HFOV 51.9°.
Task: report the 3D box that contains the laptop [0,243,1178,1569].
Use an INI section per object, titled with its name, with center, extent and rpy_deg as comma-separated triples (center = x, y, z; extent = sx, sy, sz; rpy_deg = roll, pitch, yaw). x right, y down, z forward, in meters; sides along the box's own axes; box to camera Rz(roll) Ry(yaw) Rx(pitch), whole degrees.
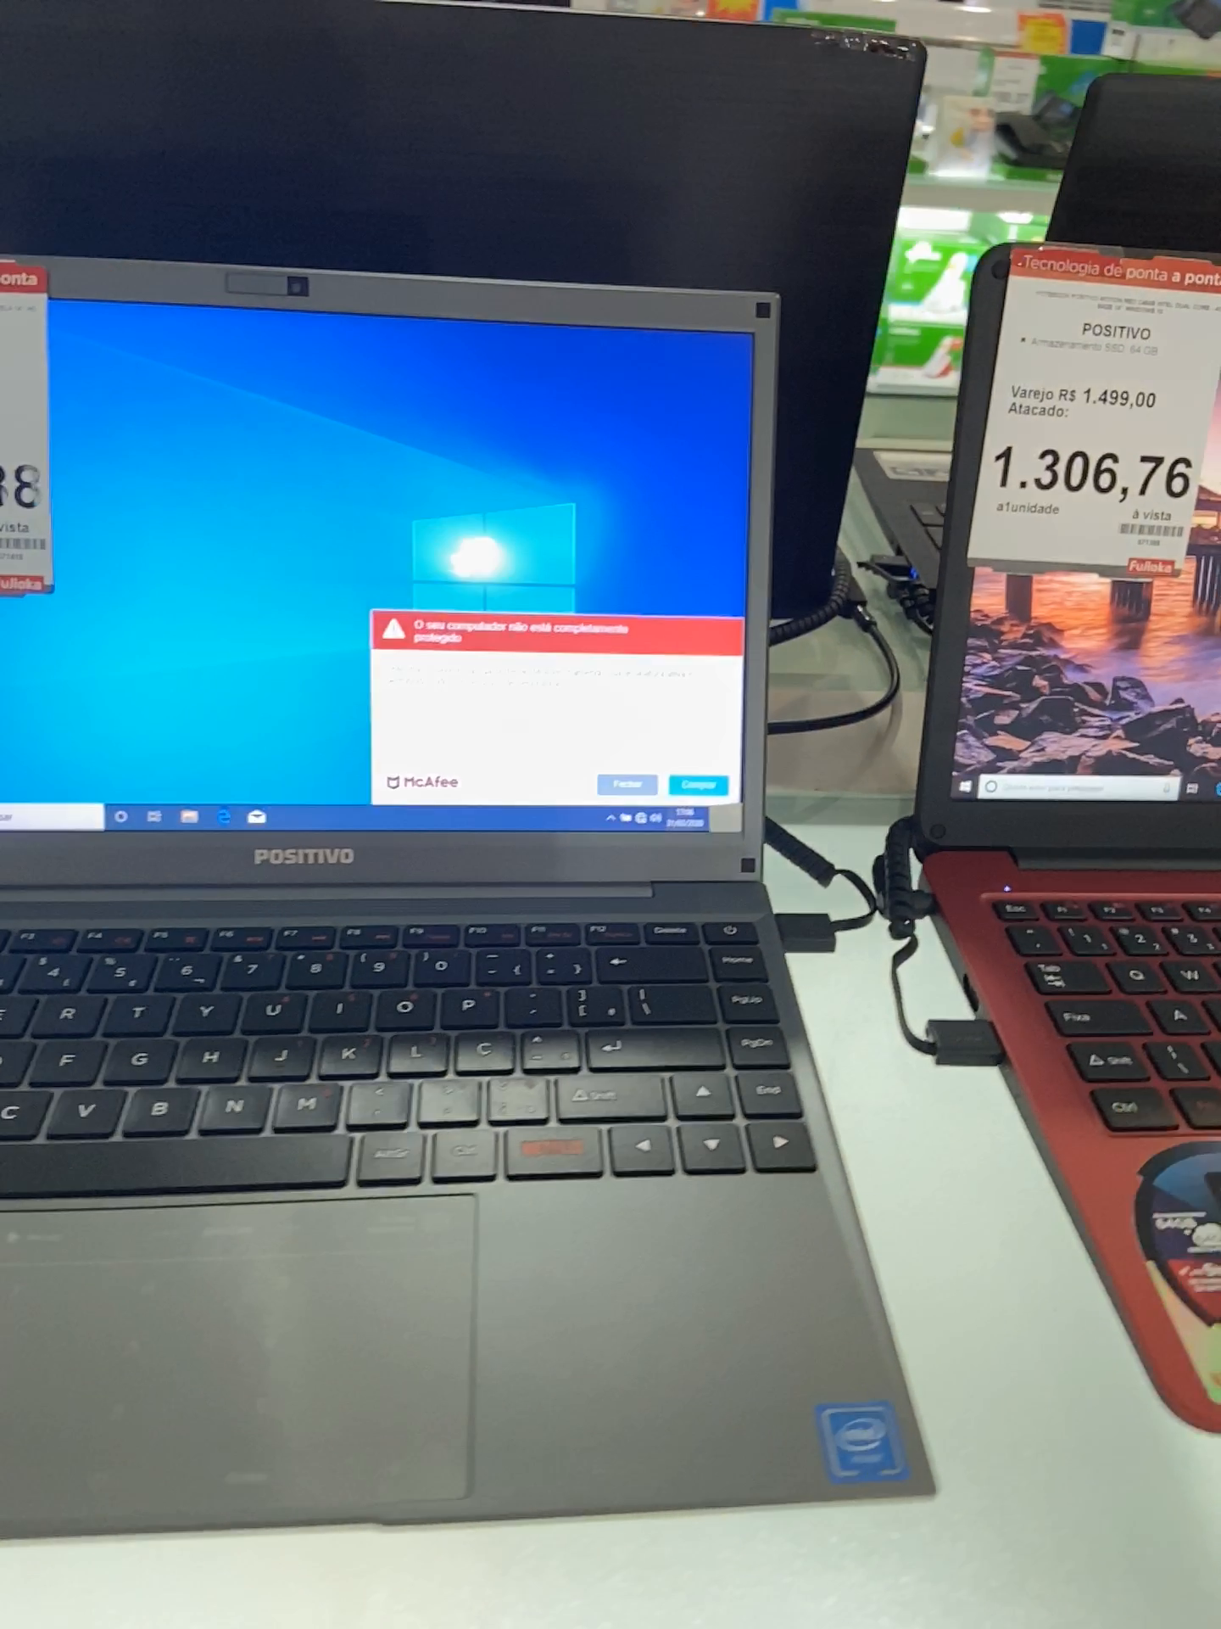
[laptop]
center = -0.099, -0.017, 0.346
extent = 0.330, 0.183, 0.321
rpy_deg = 1, 35, -6
